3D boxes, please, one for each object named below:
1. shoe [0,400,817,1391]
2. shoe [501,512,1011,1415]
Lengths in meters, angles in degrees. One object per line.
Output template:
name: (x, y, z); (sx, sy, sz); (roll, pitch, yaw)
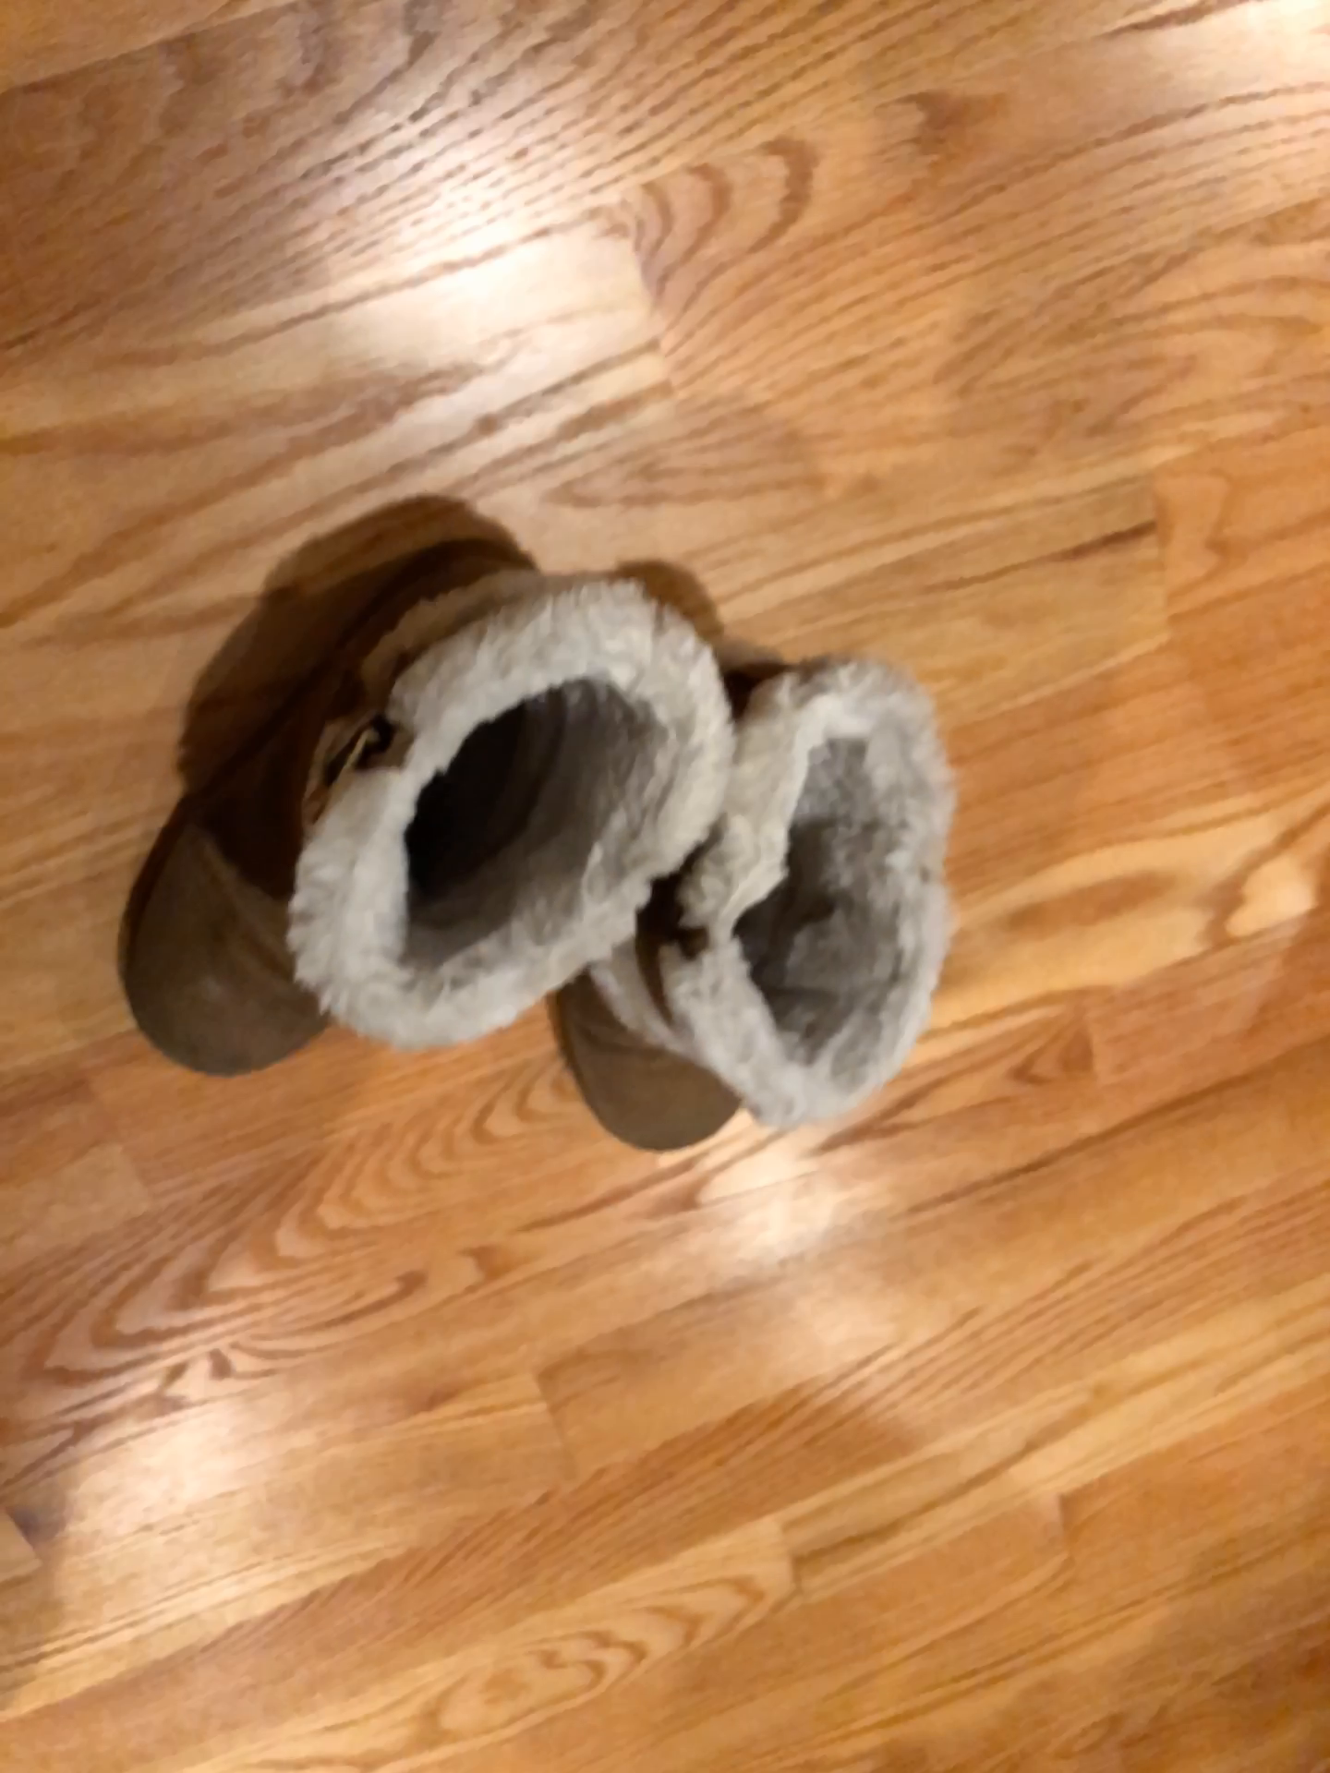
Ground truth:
shoe: (-0.099, -0.011, 0.488); (0.106, 0.194, 0.254); (32, 101, -26)
shoe: (0.024, 0.014, 0.537); (0.113, 0.194, 0.255); (-9, 115, -12)
